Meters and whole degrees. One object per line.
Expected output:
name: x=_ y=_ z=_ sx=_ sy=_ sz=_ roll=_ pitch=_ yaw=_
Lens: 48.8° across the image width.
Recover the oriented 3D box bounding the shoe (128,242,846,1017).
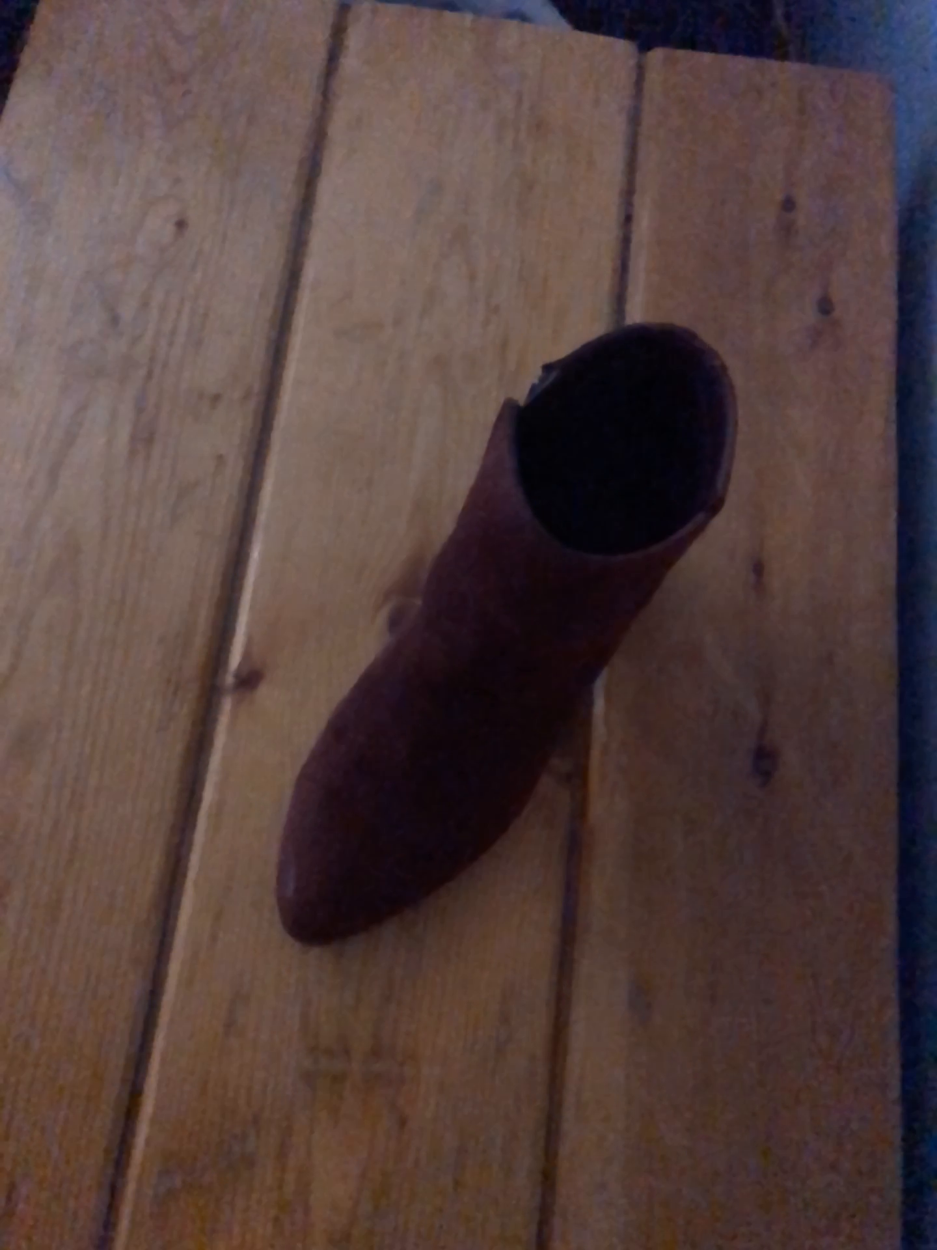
shoe: x=0.011 y=0.009 z=0.392 sx=0.090 sy=0.150 sz=0.250 roll=37 pitch=74 yaw=8
